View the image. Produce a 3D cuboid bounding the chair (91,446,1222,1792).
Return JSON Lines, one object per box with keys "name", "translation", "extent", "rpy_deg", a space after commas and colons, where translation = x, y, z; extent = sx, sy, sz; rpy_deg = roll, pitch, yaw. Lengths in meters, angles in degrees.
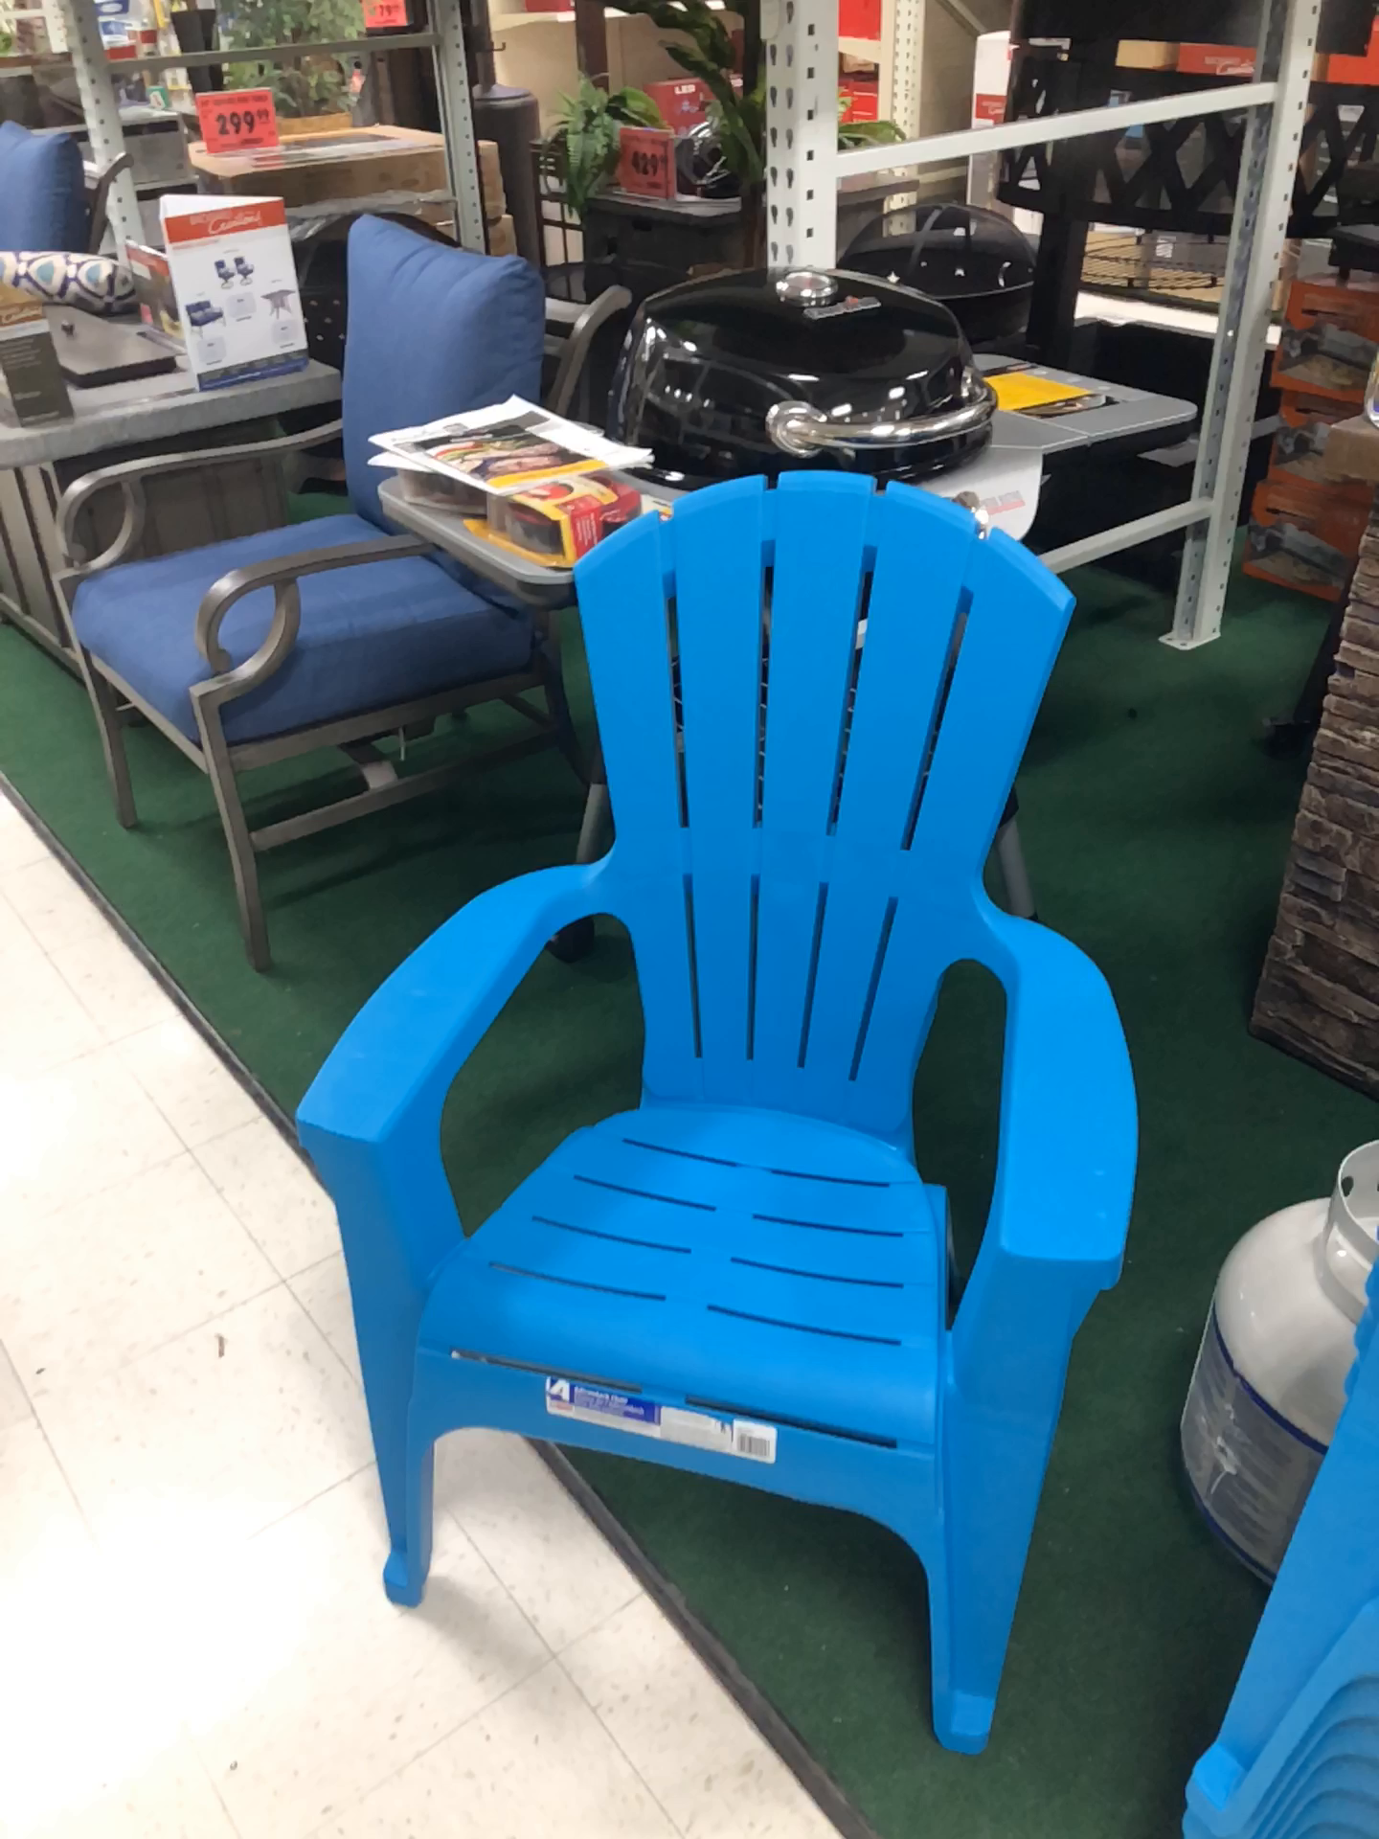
{"name": "chair", "translation": [0.055, 0.148, 1.386], "extent": [0.681, 0.932, 0.649], "rpy_deg": [8, 35, 14]}
